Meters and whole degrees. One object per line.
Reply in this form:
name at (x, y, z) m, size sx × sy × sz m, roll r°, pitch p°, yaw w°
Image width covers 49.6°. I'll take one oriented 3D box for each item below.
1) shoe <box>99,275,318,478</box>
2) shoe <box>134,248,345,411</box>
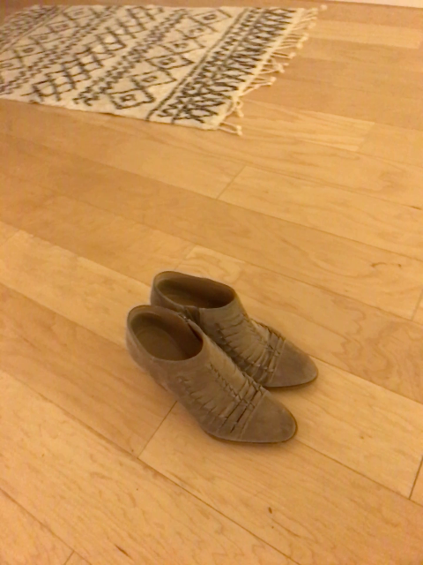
shoe at (-0.004, 0.120, 0.628) m, size 0.270 × 0.129 × 0.110 m, roll 26°, pitch 58°, yaw 29°
shoe at (0.039, 0.062, 0.662) m, size 0.270 × 0.119 × 0.101 m, roll 19°, pitch 55°, yaw 25°
